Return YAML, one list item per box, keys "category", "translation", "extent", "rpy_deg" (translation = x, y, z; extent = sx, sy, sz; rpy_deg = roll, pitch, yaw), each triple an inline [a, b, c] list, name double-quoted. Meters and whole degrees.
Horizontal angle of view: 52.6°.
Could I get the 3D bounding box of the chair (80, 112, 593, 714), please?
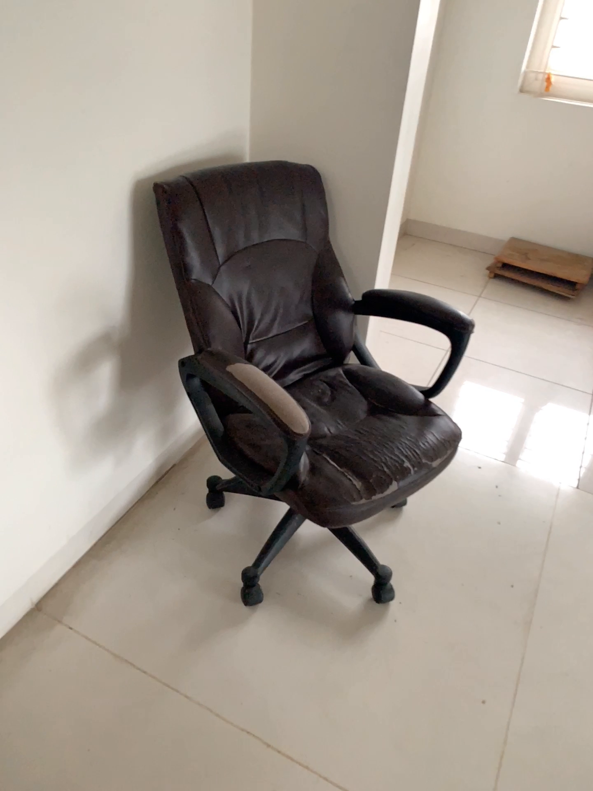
- category: "chair"
  translation: [0.061, -0.022, 1.433]
  extent: [0.701, 0.996, 0.792]
  rpy_deg: [-24, 46, -33]
